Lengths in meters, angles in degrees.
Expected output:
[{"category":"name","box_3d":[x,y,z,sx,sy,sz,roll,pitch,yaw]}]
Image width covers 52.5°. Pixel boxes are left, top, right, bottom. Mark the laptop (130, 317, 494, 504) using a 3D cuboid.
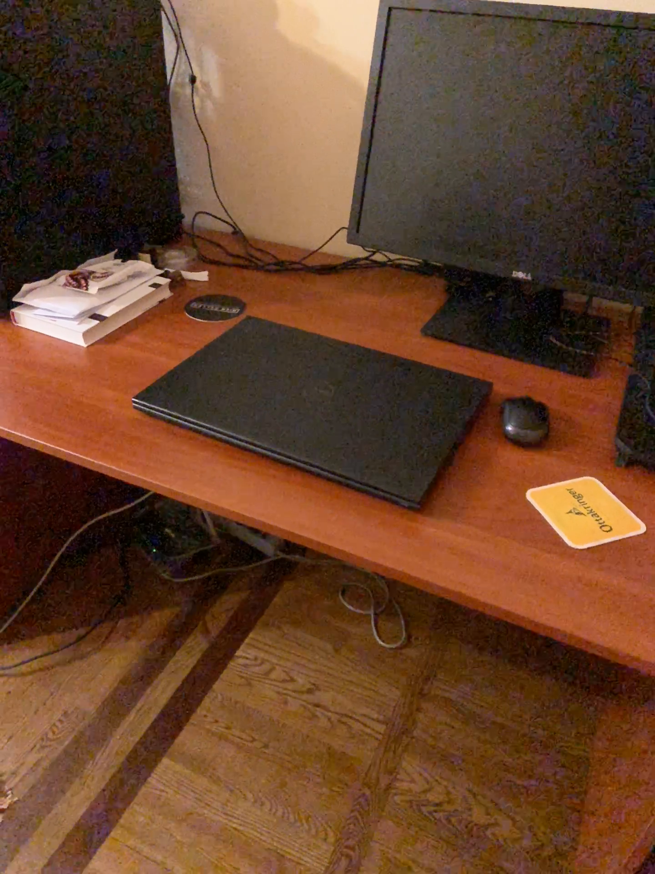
[{"category":"laptop","box_3d":[-0.011,-0.053,0.803,0.360,0.002,0.249,19,40,21]}]
